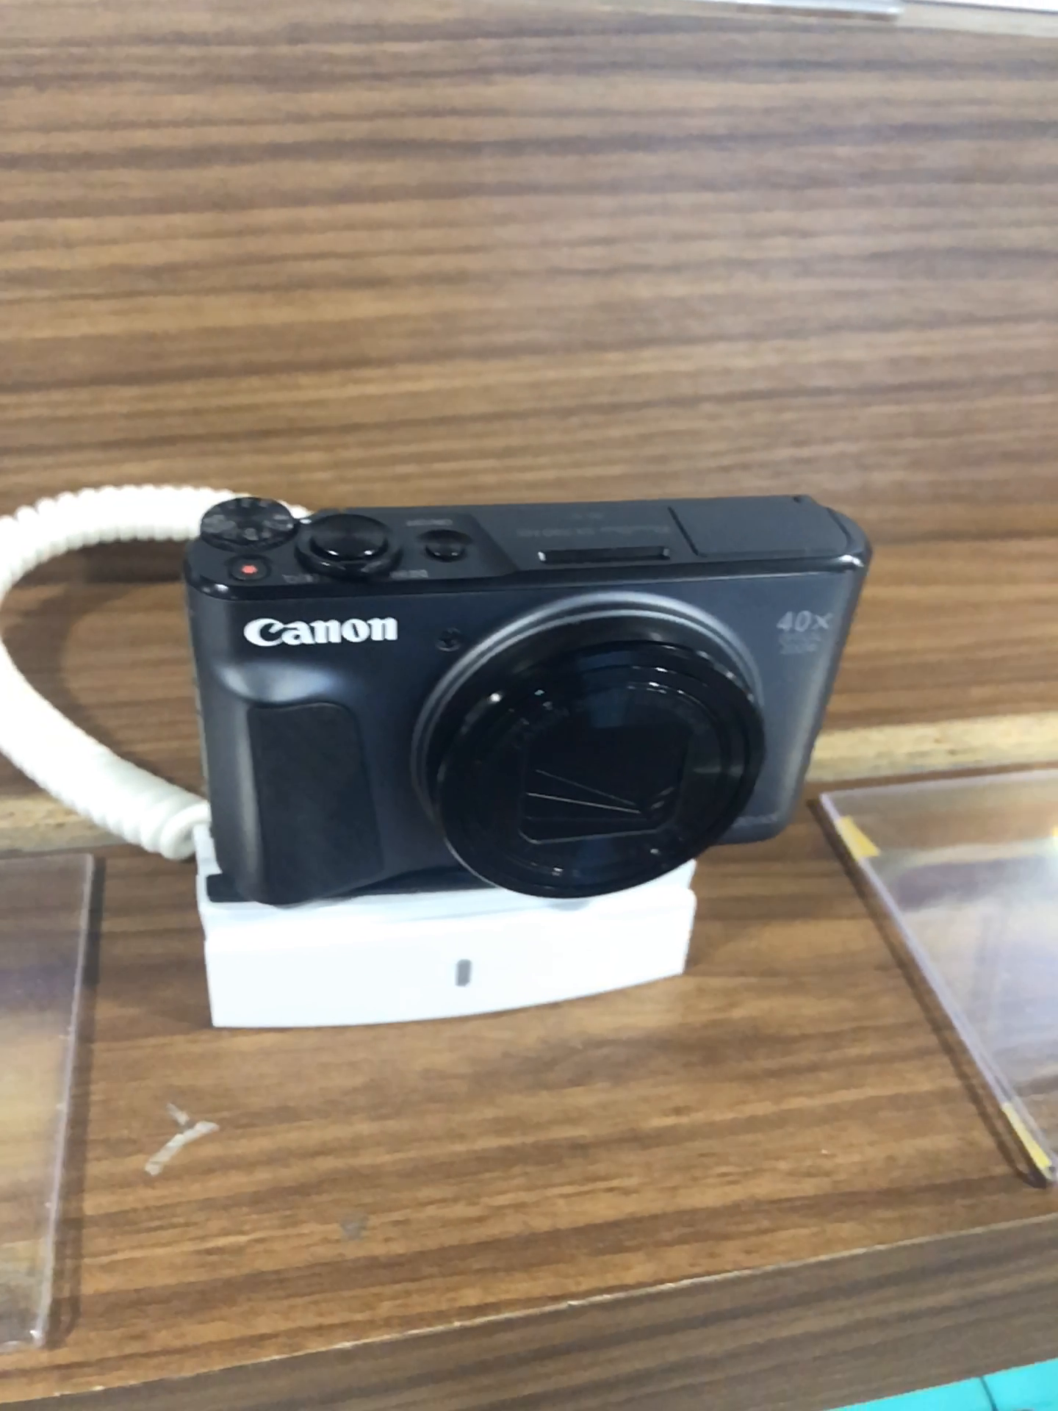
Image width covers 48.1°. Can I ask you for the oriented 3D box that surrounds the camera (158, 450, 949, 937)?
[{"bbox_3d":[0.001,-0.003,0.192,0.109,0.063,0.037,-4,39,-12],"label":"camera"}]
